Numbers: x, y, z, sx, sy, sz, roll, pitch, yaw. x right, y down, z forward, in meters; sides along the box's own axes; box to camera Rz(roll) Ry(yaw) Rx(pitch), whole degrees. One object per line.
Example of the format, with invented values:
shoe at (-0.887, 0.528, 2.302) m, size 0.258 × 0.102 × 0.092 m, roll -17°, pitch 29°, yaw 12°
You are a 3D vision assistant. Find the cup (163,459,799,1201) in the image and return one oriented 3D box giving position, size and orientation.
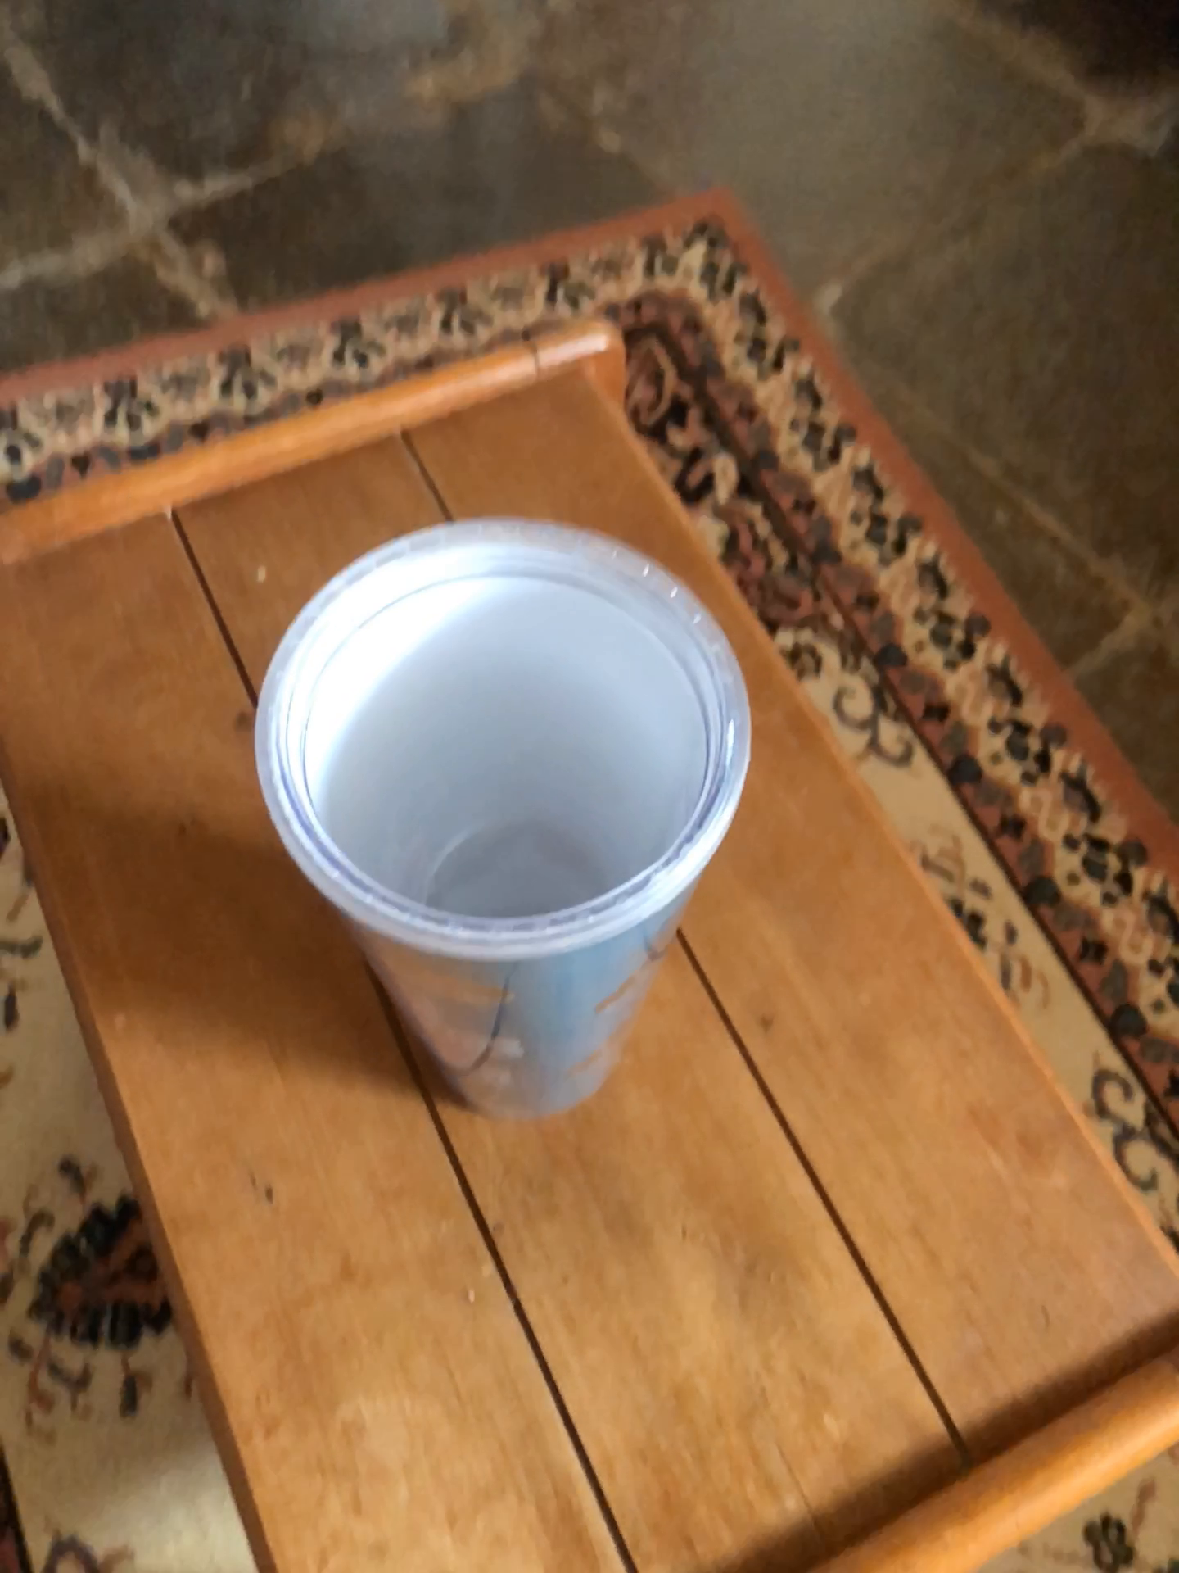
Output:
cup at (-0.027, 0.025, 0.334) m, size 0.100 × 0.179 × 0.100 m, roll 1°, pitch 63°, yaw -2°
